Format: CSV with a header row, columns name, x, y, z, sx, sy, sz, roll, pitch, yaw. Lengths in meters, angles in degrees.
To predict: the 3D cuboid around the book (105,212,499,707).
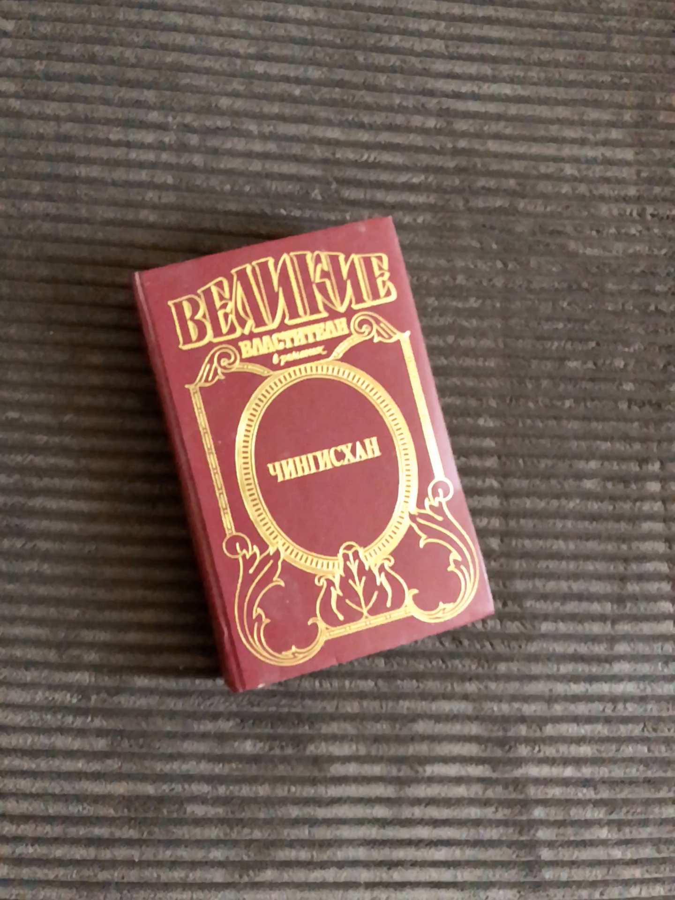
name,x,y,z,sx,sy,sz,roll,pitch,yaw
book,-0.018,0.002,0.374,0.137,0.050,0.202,-15,89,-7
